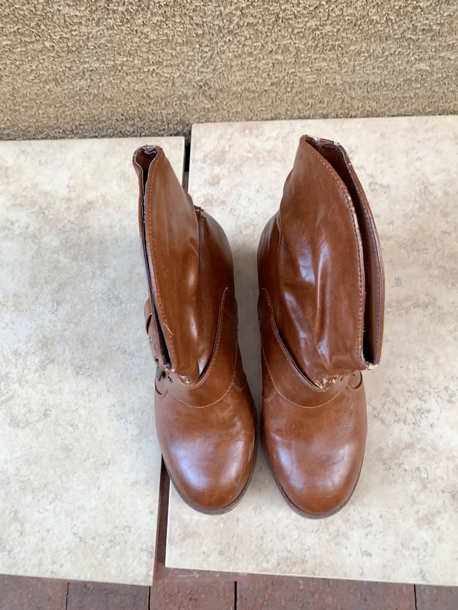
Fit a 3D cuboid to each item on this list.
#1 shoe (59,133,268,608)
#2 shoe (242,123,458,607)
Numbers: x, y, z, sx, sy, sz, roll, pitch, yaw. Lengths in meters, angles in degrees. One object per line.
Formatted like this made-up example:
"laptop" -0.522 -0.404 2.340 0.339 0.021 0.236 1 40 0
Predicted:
"shoe" -0.033 0.045 0.347 0.095 0.199 0.245 -6 75 4
"shoe" 0.067 0.040 0.339 0.100 0.199 0.245 -1 76 6
